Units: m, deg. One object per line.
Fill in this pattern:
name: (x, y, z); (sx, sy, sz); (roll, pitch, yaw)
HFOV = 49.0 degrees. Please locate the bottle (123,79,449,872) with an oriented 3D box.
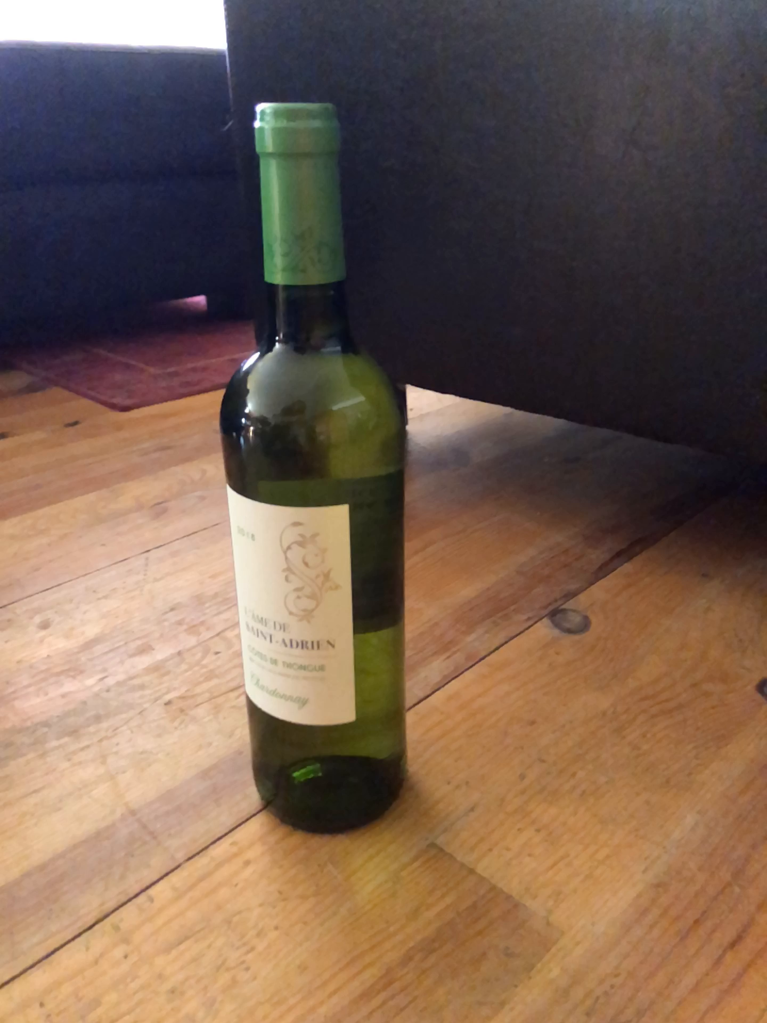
bottle: (-0.026, -0.006, 0.346); (0.080, 0.298, 0.080); (-1, 23, 1)
